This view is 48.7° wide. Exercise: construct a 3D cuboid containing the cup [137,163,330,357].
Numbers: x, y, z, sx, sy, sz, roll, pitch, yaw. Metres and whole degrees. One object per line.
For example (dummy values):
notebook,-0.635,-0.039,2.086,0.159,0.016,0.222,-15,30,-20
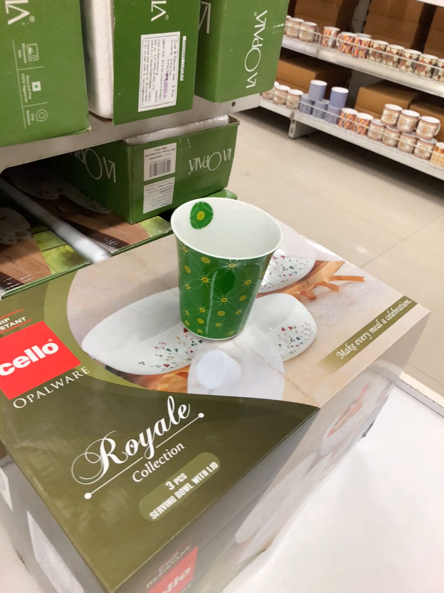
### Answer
cup,0.006,-0.034,0.386,0.090,0.089,0.111,35,45,30
